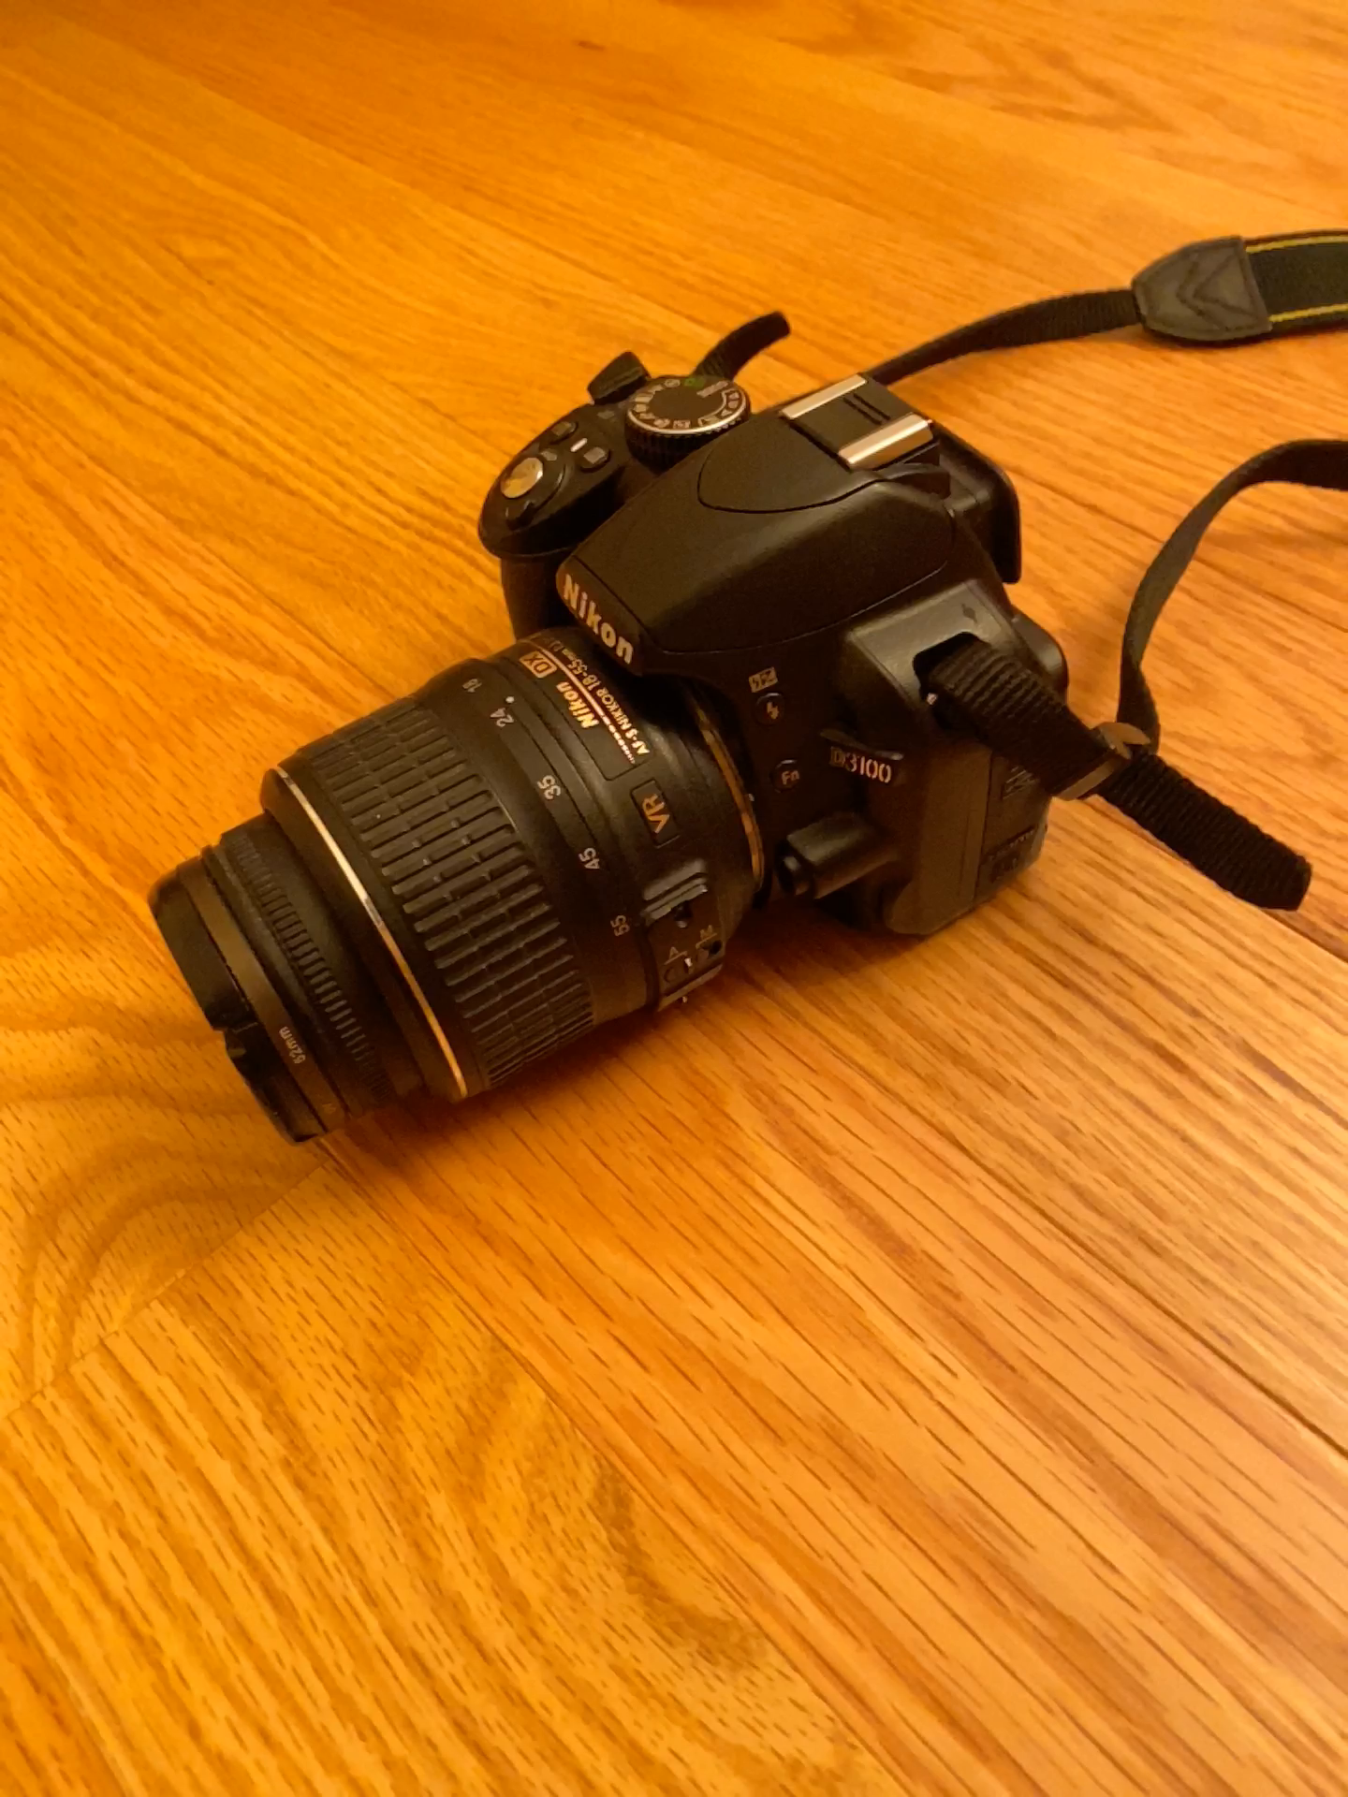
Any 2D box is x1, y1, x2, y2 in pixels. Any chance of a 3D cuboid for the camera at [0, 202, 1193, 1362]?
[{"bbox_3d":[-0.019,-0.031,0.262,0.160,0.099,0.130,-32,55,-17],"label":"camera"}]
